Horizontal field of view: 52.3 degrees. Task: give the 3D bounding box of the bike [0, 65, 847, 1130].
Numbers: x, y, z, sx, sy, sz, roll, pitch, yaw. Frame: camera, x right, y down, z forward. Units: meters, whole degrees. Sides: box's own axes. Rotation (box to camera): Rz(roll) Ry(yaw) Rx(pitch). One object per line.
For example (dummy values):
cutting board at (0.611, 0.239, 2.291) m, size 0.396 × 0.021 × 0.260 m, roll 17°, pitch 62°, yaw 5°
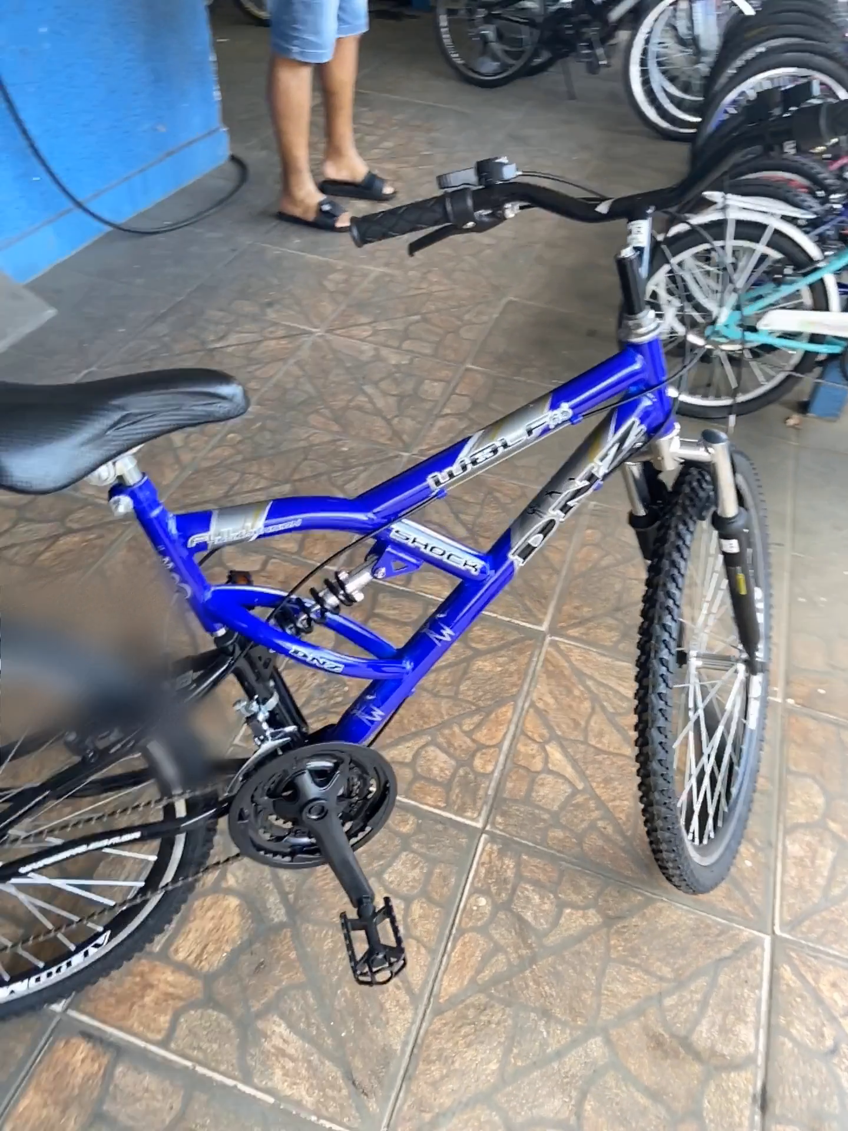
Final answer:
bike at (-0.214, -0.027, 1.212) m, size 1.613 × 1.018 × 0.516 m, roll -16°, pitch 45°, yaw -20°
